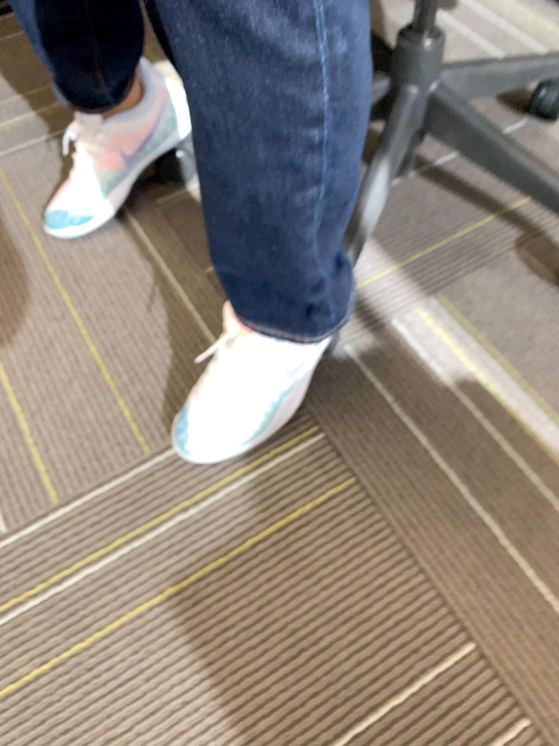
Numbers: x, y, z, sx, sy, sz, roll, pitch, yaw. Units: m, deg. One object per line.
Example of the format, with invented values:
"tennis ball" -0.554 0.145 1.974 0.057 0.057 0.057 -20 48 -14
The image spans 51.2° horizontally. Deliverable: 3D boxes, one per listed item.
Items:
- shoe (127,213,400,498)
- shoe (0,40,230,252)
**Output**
"shoe" -0.007 -0.020 0.675 0.113 0.109 0.310 40 79 23
"shoe" -0.232 -0.321 0.826 0.302 0.109 0.107 -38 64 -10
